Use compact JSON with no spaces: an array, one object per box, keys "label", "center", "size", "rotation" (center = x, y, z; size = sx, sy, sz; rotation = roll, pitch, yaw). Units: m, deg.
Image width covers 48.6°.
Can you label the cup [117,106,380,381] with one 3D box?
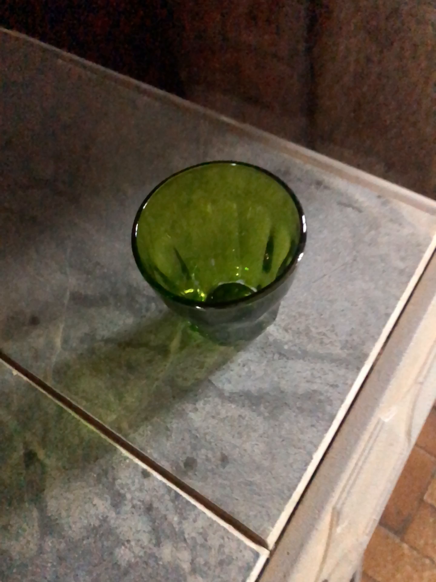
[{"label":"cup","center":[0.017,-0.021,0.238],"size":[0.080,0.080,0.080],"rotation":[-3,63,5]}]
